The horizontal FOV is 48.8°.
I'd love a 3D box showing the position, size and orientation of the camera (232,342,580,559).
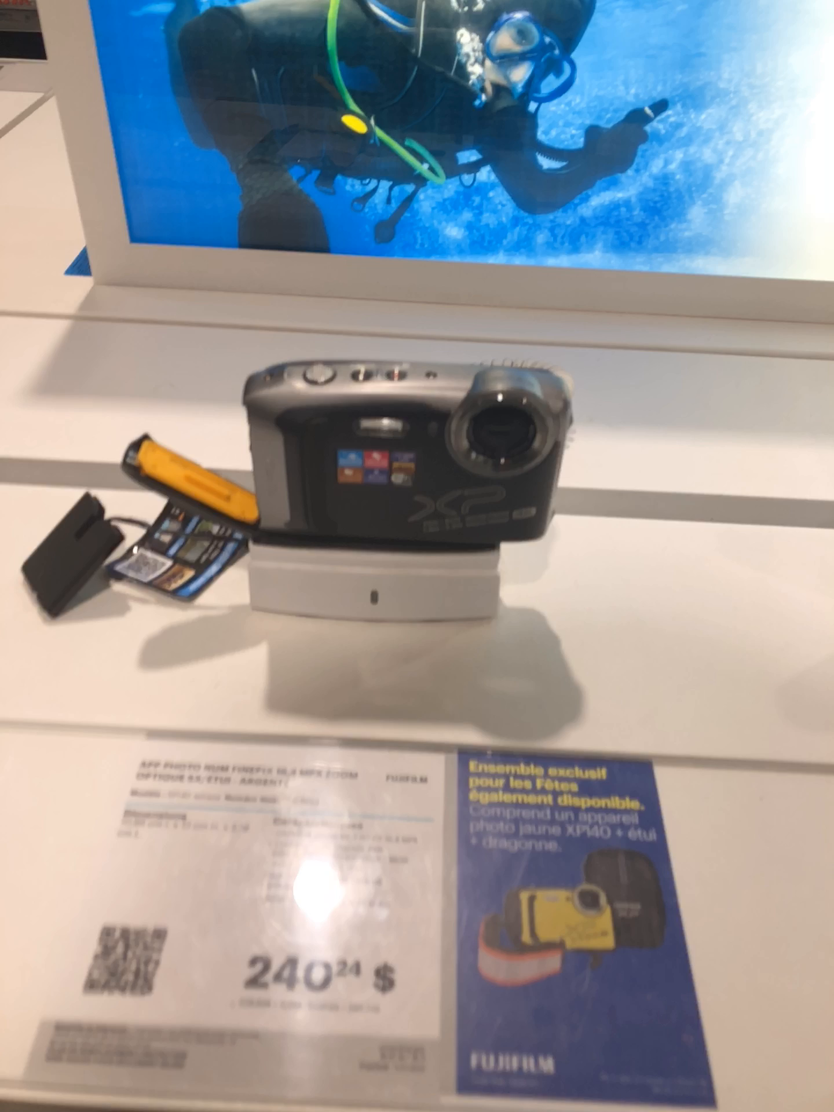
[{"bbox_3d":[-0.004,-0.034,0.310,0.106,0.069,0.023,1,40,-2],"label":"camera"}]
